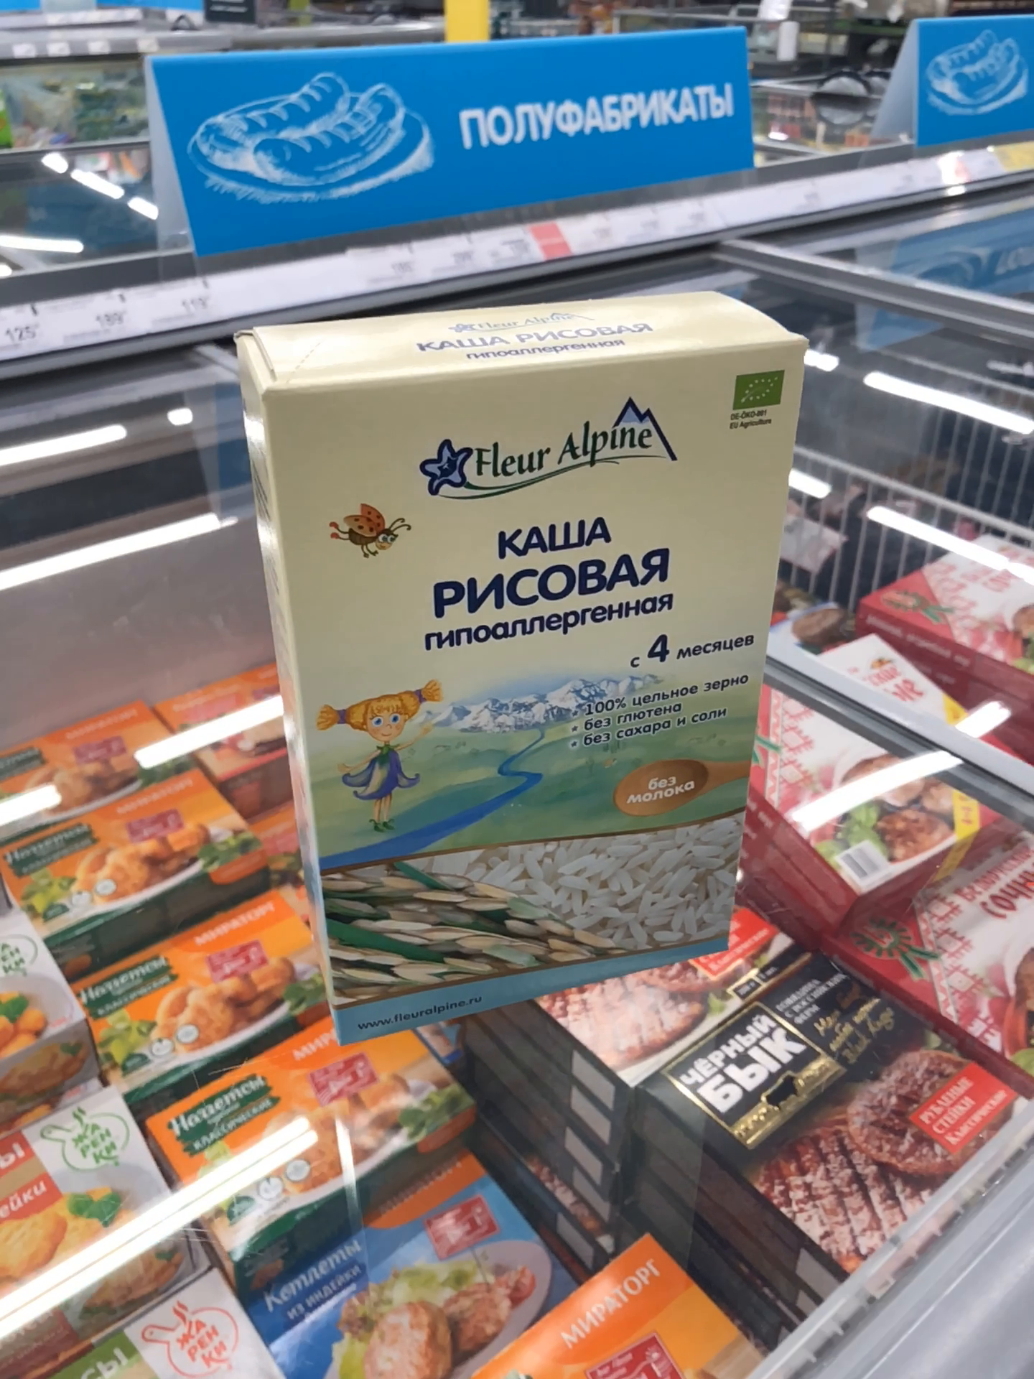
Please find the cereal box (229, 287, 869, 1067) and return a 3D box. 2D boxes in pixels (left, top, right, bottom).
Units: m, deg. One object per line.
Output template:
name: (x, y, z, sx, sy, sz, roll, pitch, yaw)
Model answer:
cereal box: (0.007, 0.002, 0.319, 0.140, 0.199, 0.050, -10, 34, -15)
